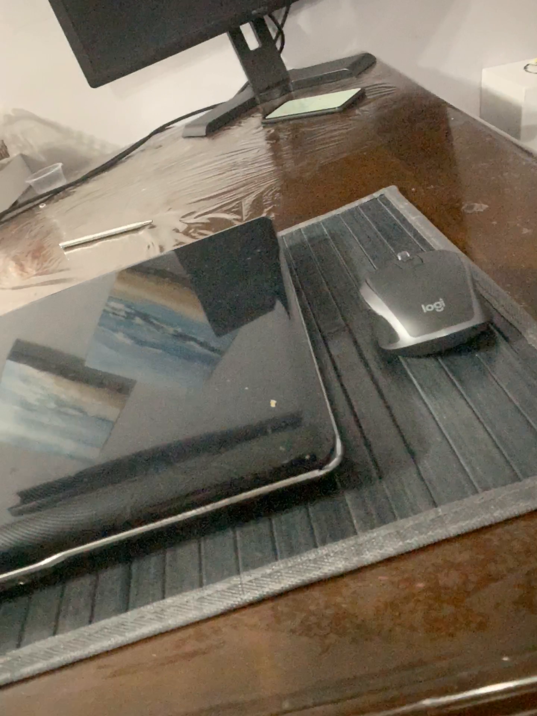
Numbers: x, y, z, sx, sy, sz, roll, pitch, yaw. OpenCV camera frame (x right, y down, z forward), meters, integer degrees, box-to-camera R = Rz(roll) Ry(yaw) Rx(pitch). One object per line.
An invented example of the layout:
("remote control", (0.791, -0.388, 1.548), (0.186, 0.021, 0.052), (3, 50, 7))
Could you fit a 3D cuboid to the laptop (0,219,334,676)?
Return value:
("laptop", (-0.146, 0.022, 0.335), (0.339, 0.009, 0.232), (-18, 37, 5))
